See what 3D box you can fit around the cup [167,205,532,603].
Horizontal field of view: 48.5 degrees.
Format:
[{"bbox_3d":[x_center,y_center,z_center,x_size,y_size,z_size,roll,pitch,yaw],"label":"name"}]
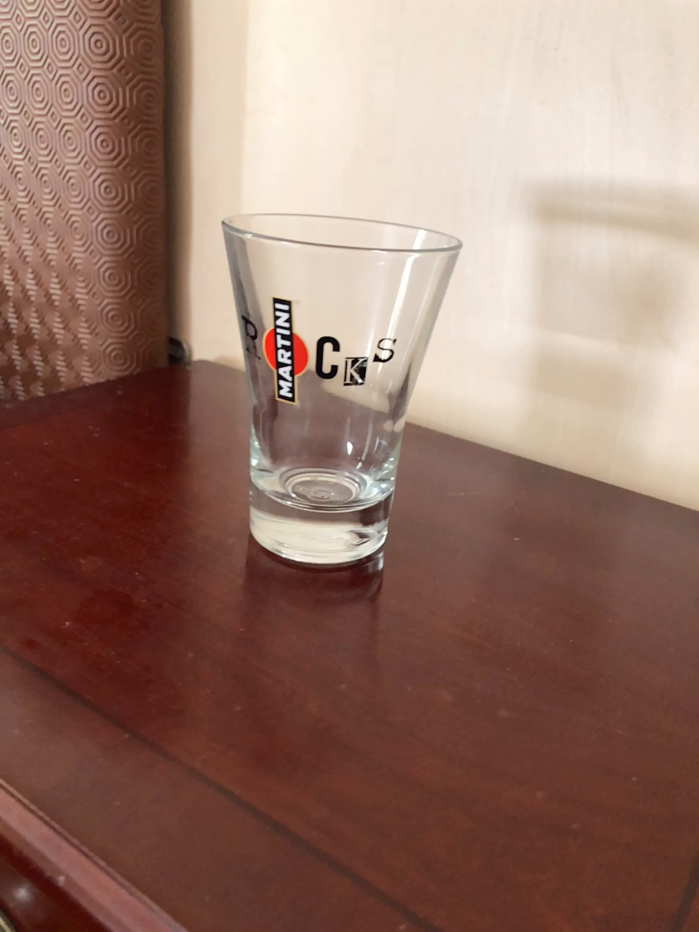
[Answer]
[{"bbox_3d":[-0.002,-0.034,0.301,0.094,0.118,0.095,4,22,-2],"label":"cup"}]
